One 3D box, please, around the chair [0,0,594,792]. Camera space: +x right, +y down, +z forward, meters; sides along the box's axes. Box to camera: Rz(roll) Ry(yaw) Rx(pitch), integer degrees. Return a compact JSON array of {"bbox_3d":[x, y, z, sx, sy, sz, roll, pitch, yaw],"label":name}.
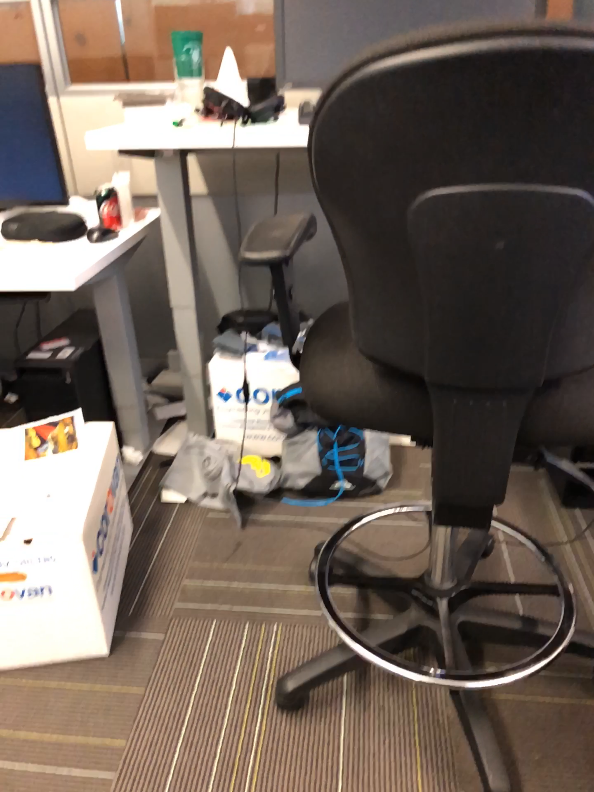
[{"bbox_3d":[0.171,-0.017,1.136,0.890,1.104,0.965,0,27,5],"label":"chair"}]
